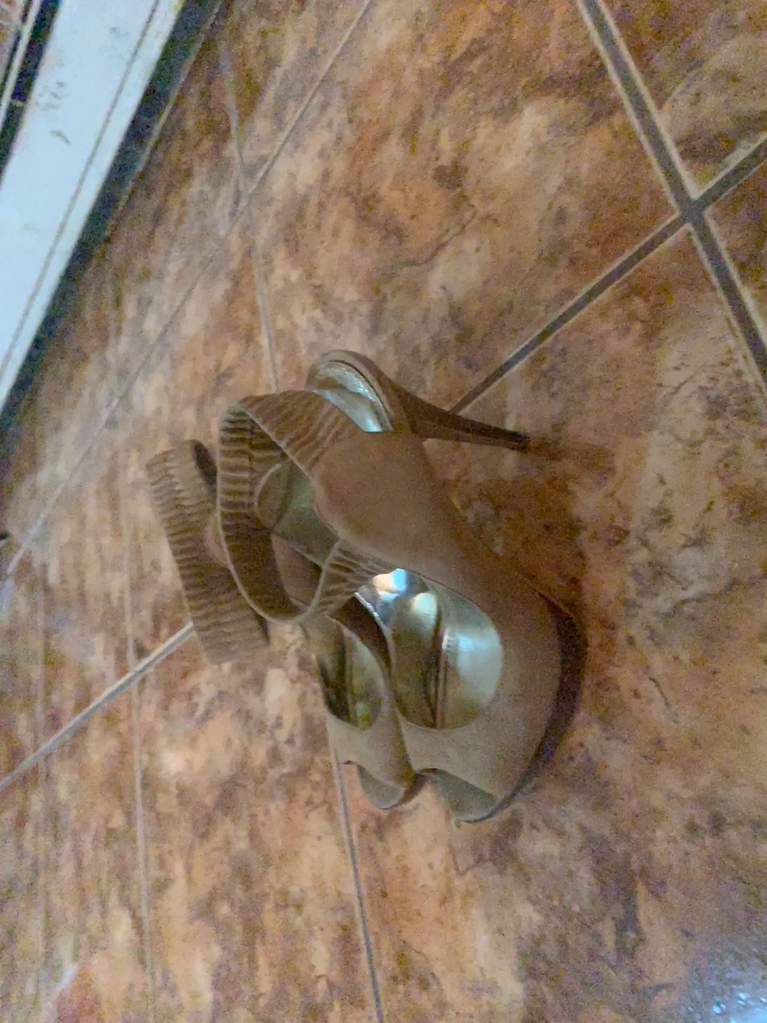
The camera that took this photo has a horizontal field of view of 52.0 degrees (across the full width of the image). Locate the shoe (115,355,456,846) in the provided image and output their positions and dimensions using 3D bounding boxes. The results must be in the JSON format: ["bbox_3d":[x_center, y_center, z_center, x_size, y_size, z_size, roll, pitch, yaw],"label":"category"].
[{"bbox_3d":[-0.046,0.046,0.410,0.082,0.139,0.209,-8,76,53],"label":"shoe"}]

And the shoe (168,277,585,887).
[{"bbox_3d":[0.004,0.031,0.340,0.082,0.149,0.204,-8,76,53],"label":"shoe"}]
